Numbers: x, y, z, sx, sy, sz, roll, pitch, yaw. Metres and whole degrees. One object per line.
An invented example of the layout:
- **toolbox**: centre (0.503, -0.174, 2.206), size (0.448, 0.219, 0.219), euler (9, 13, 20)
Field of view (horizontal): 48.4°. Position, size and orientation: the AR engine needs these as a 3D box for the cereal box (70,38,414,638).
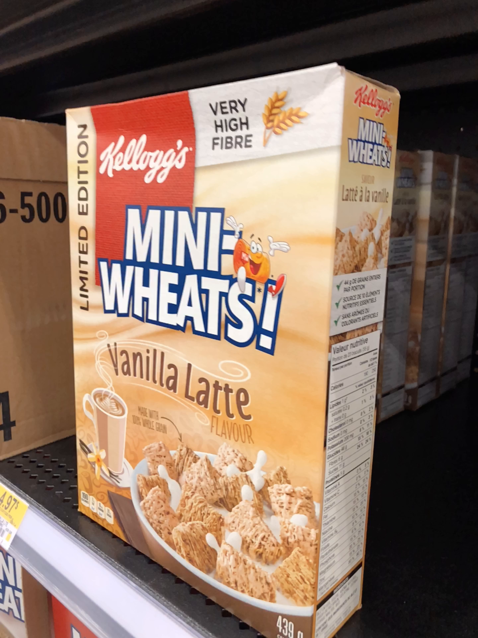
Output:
- **cereal box**: centre (-0.015, 0.015, 0.306), size (0.190, 0.279, 0.060), euler (10, 13, 41)
